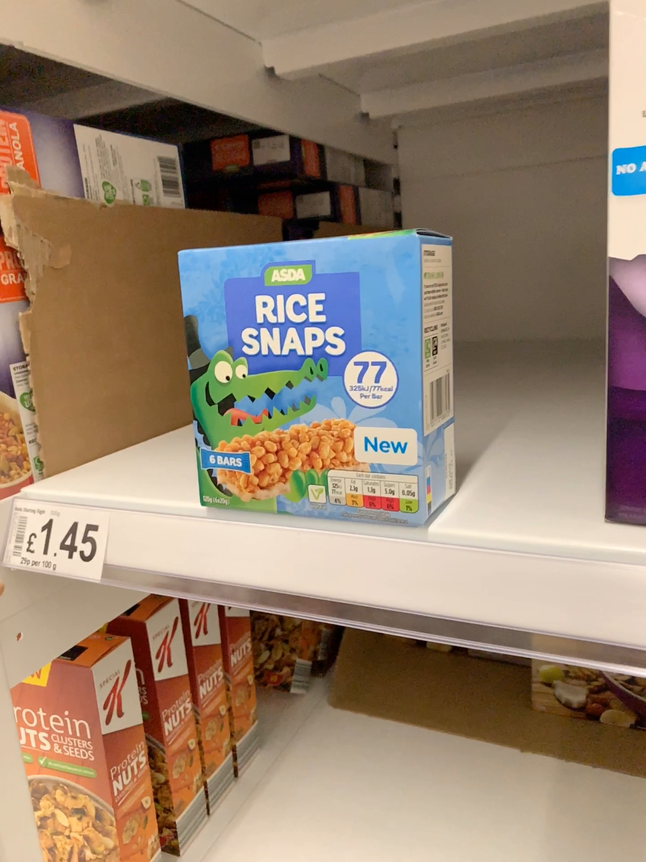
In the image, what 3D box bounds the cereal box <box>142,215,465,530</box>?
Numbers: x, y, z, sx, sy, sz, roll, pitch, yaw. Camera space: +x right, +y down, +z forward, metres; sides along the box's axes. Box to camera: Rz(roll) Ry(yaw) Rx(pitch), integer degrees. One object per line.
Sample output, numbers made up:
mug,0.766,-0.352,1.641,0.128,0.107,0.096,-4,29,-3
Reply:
cereal box,-0.008,-0.030,0.323,0.140,0.129,0.050,3,14,24
